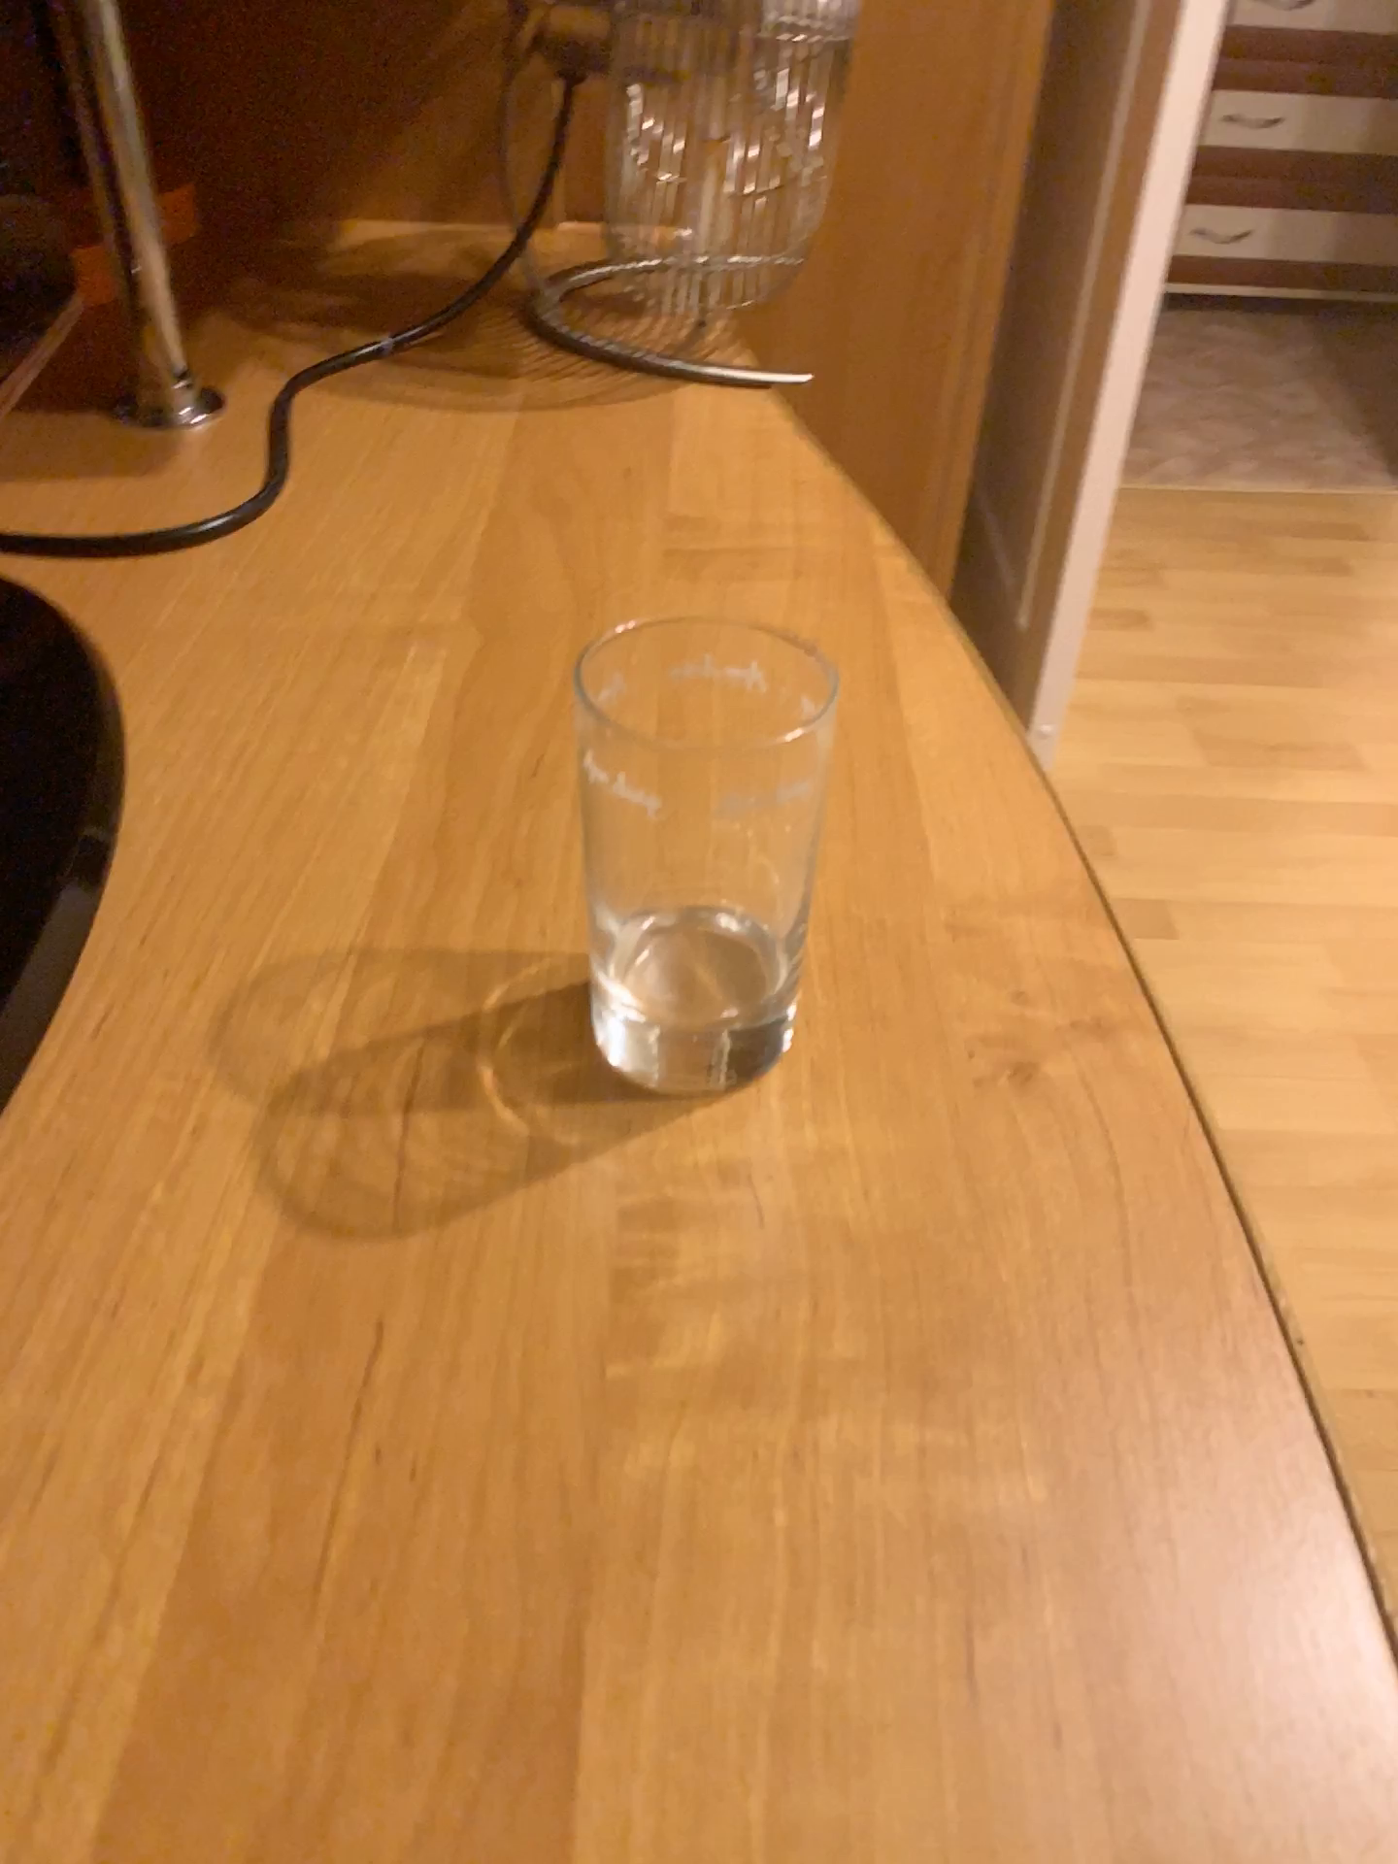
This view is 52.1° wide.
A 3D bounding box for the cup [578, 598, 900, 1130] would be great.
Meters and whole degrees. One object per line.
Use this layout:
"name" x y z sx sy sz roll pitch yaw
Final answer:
"cup" 0.008 -0.014 0.321 0.060 0.098 0.061 1 40 -1
